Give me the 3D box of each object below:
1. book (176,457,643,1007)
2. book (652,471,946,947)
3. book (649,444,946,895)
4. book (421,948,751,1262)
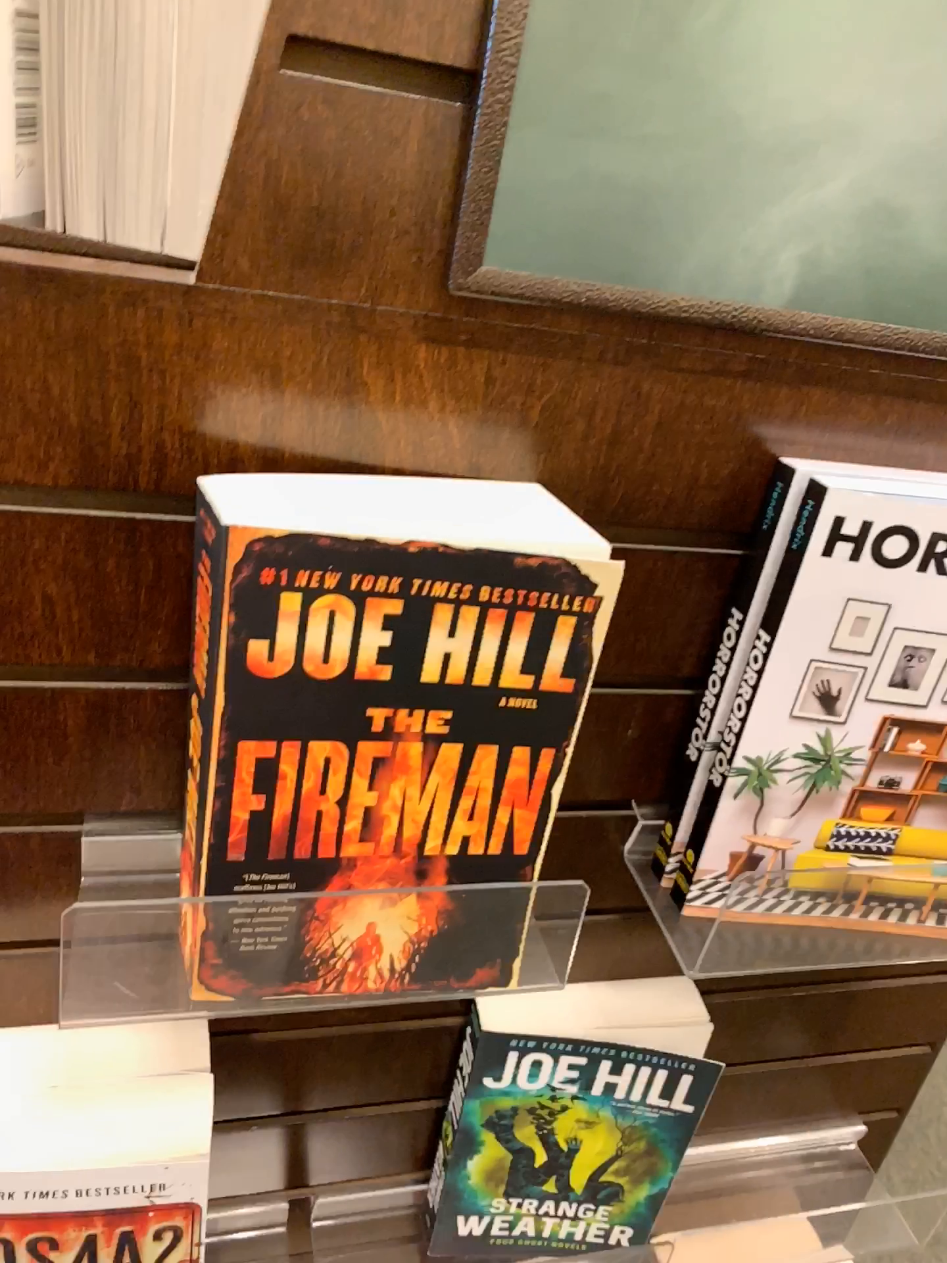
[{"bbox_3d":[-0.036,0.042,0.379,0.146,0.193,0.070,2,26,-17],"label":"book"},{"bbox_3d":[0.197,0.045,0.433,0.188,0.208,0.026,7,25,-8],"label":"book"},{"bbox_3d":[0.202,0.028,0.464,0.188,0.208,0.026,7,25,-8],"label":"book"},{"bbox_3d":[0.061,0.304,0.616,0.159,0.201,0.062,7,25,-8],"label":"book"}]
